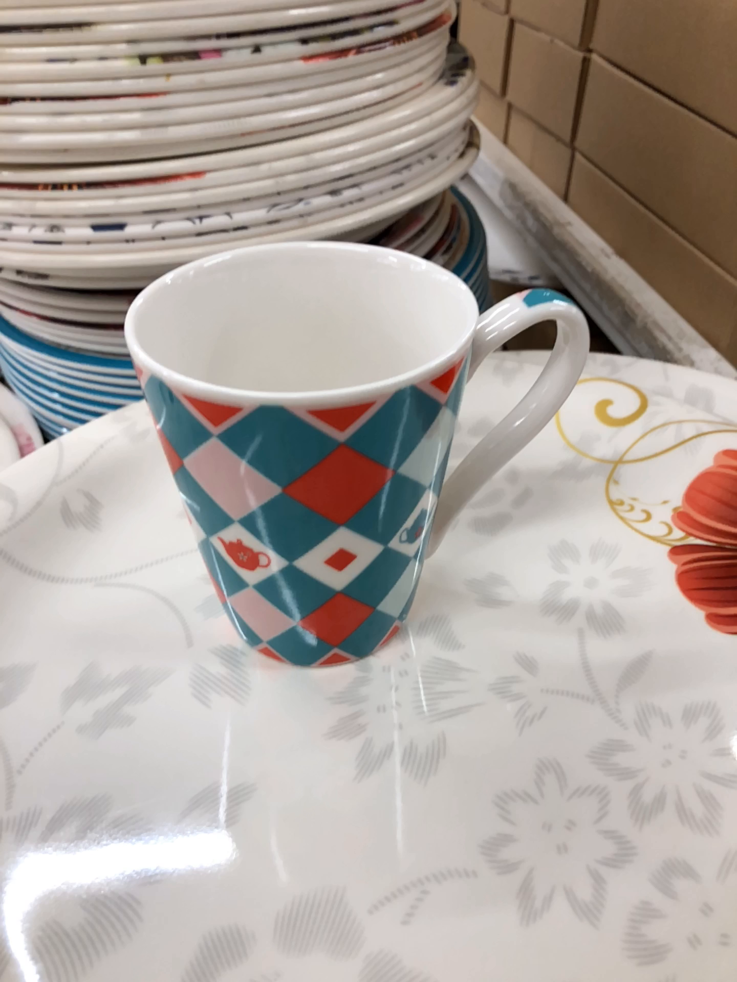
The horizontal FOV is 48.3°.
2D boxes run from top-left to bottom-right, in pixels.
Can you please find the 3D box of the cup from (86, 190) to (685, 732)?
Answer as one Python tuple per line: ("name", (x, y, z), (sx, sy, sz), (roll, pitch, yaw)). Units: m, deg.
("cup", (0.003, -0.016, 0.240), (0.130, 0.099, 0.080), (-18, 42, -22))
